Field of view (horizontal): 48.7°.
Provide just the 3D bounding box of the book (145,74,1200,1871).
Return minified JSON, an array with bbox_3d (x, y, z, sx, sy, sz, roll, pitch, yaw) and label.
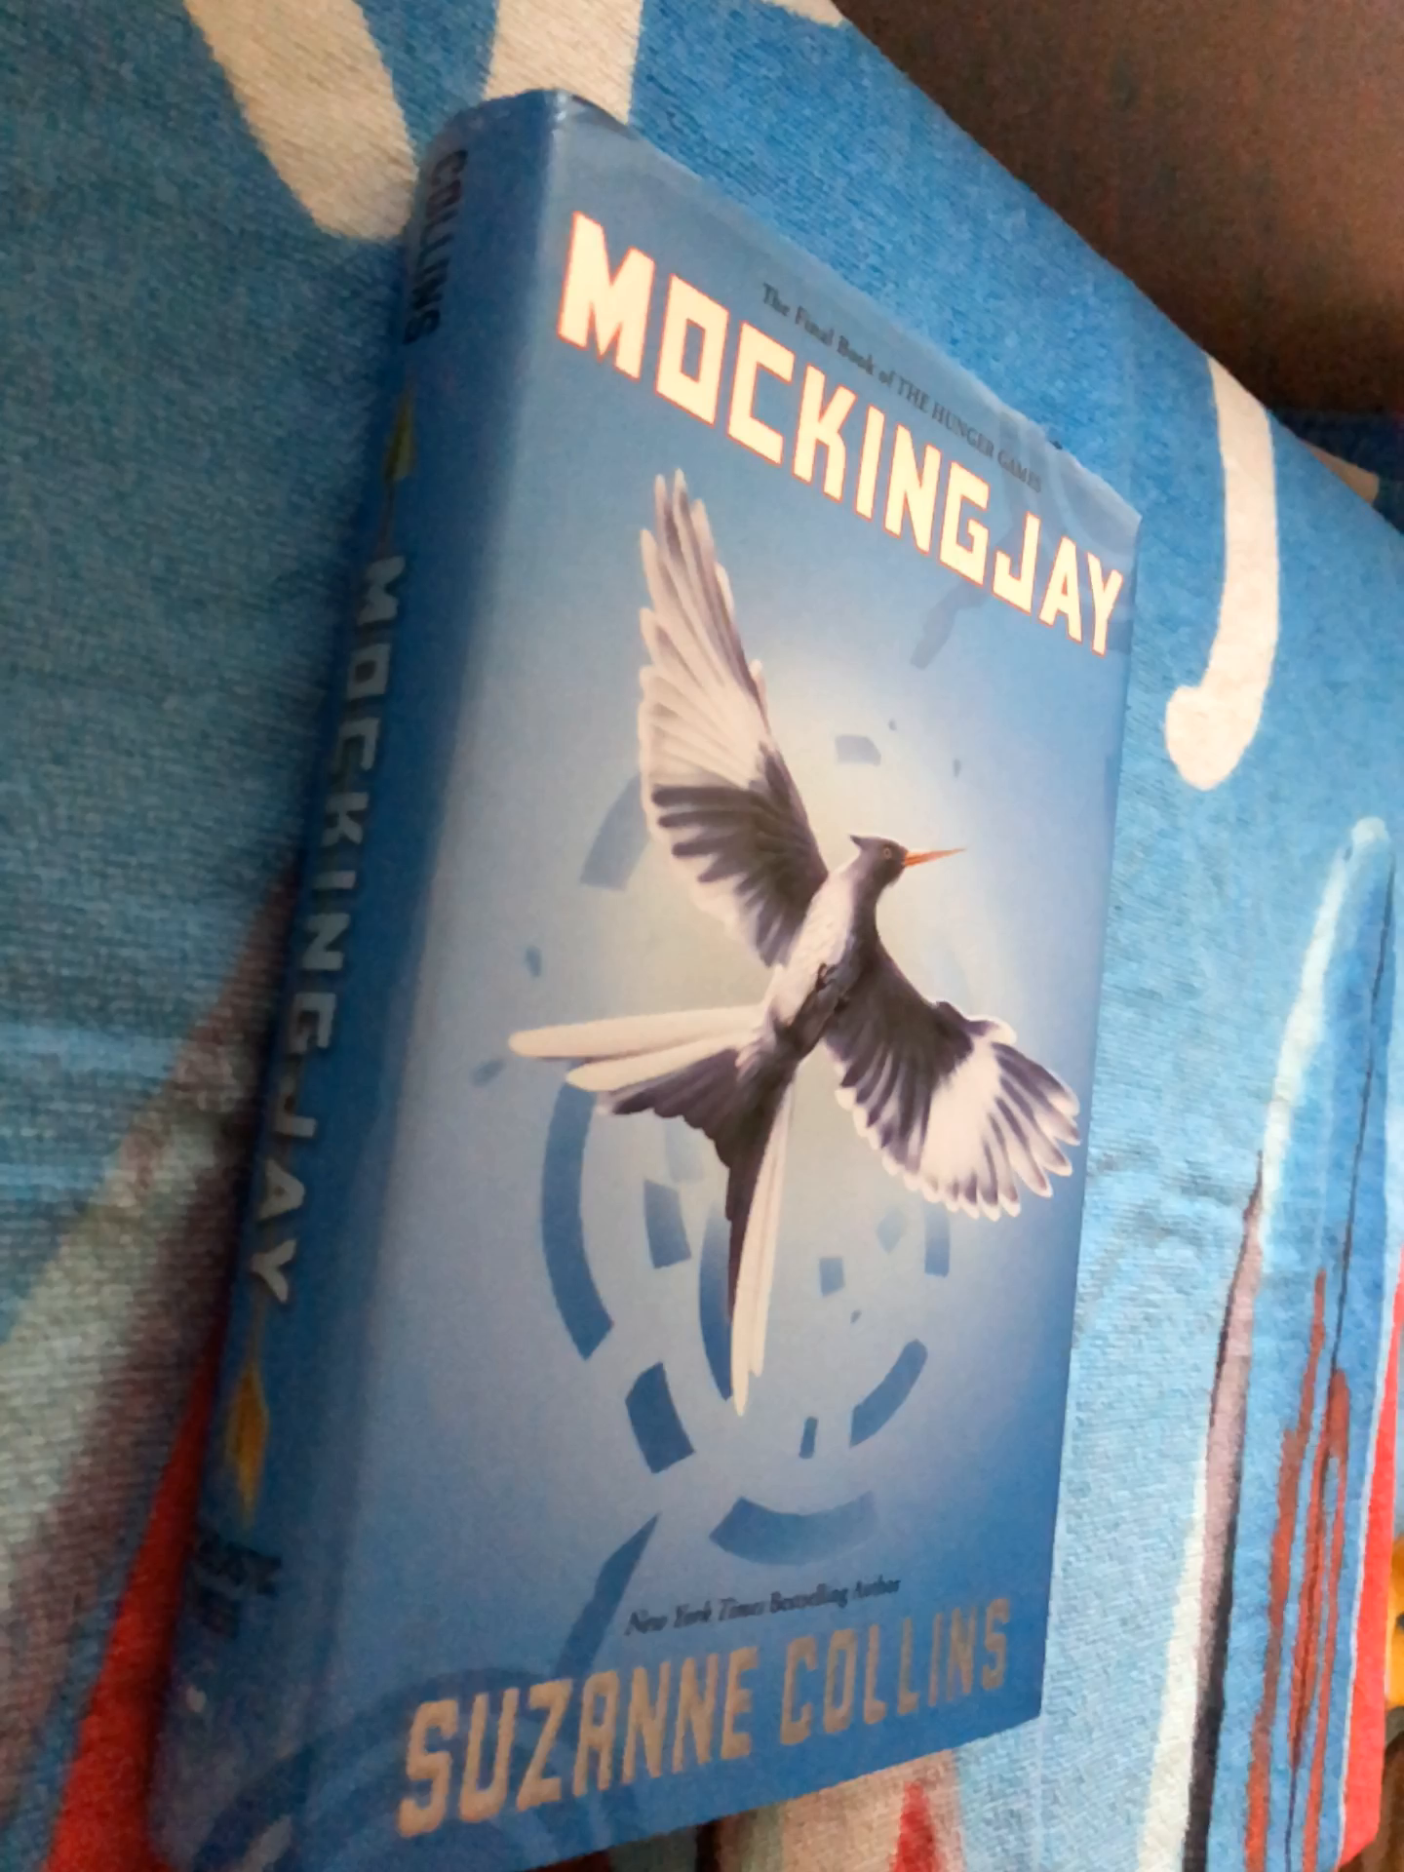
[{"bbox_3d":[0.012,0.013,0.224,0.141,0.040,0.200,15,78,-43],"label":"book"}]
